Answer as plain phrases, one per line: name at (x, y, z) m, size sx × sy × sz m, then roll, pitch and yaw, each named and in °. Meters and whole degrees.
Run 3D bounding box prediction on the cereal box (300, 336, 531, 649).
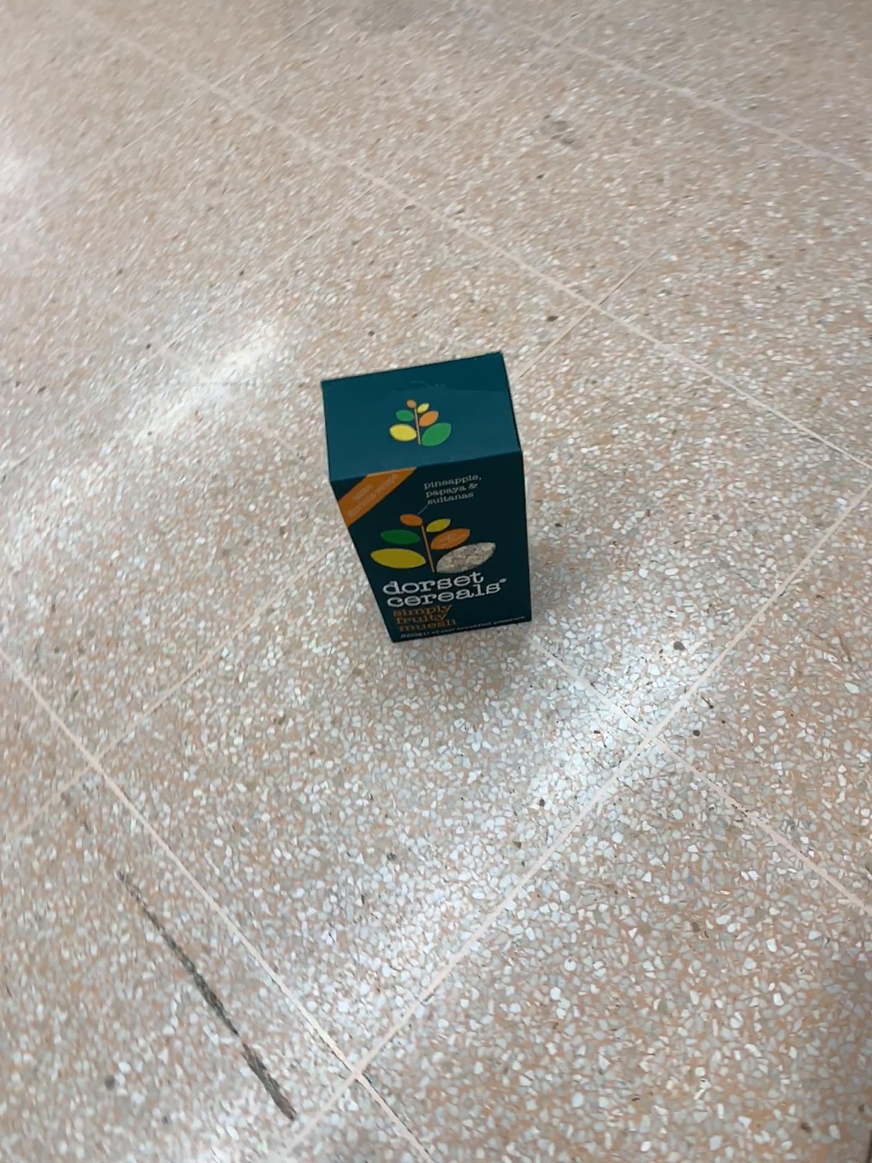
cereal box at (-0.004, -0.046, 0.615) m, size 0.120 × 0.239 × 0.080 m, roll -9°, pitch 62°, yaw 3°
